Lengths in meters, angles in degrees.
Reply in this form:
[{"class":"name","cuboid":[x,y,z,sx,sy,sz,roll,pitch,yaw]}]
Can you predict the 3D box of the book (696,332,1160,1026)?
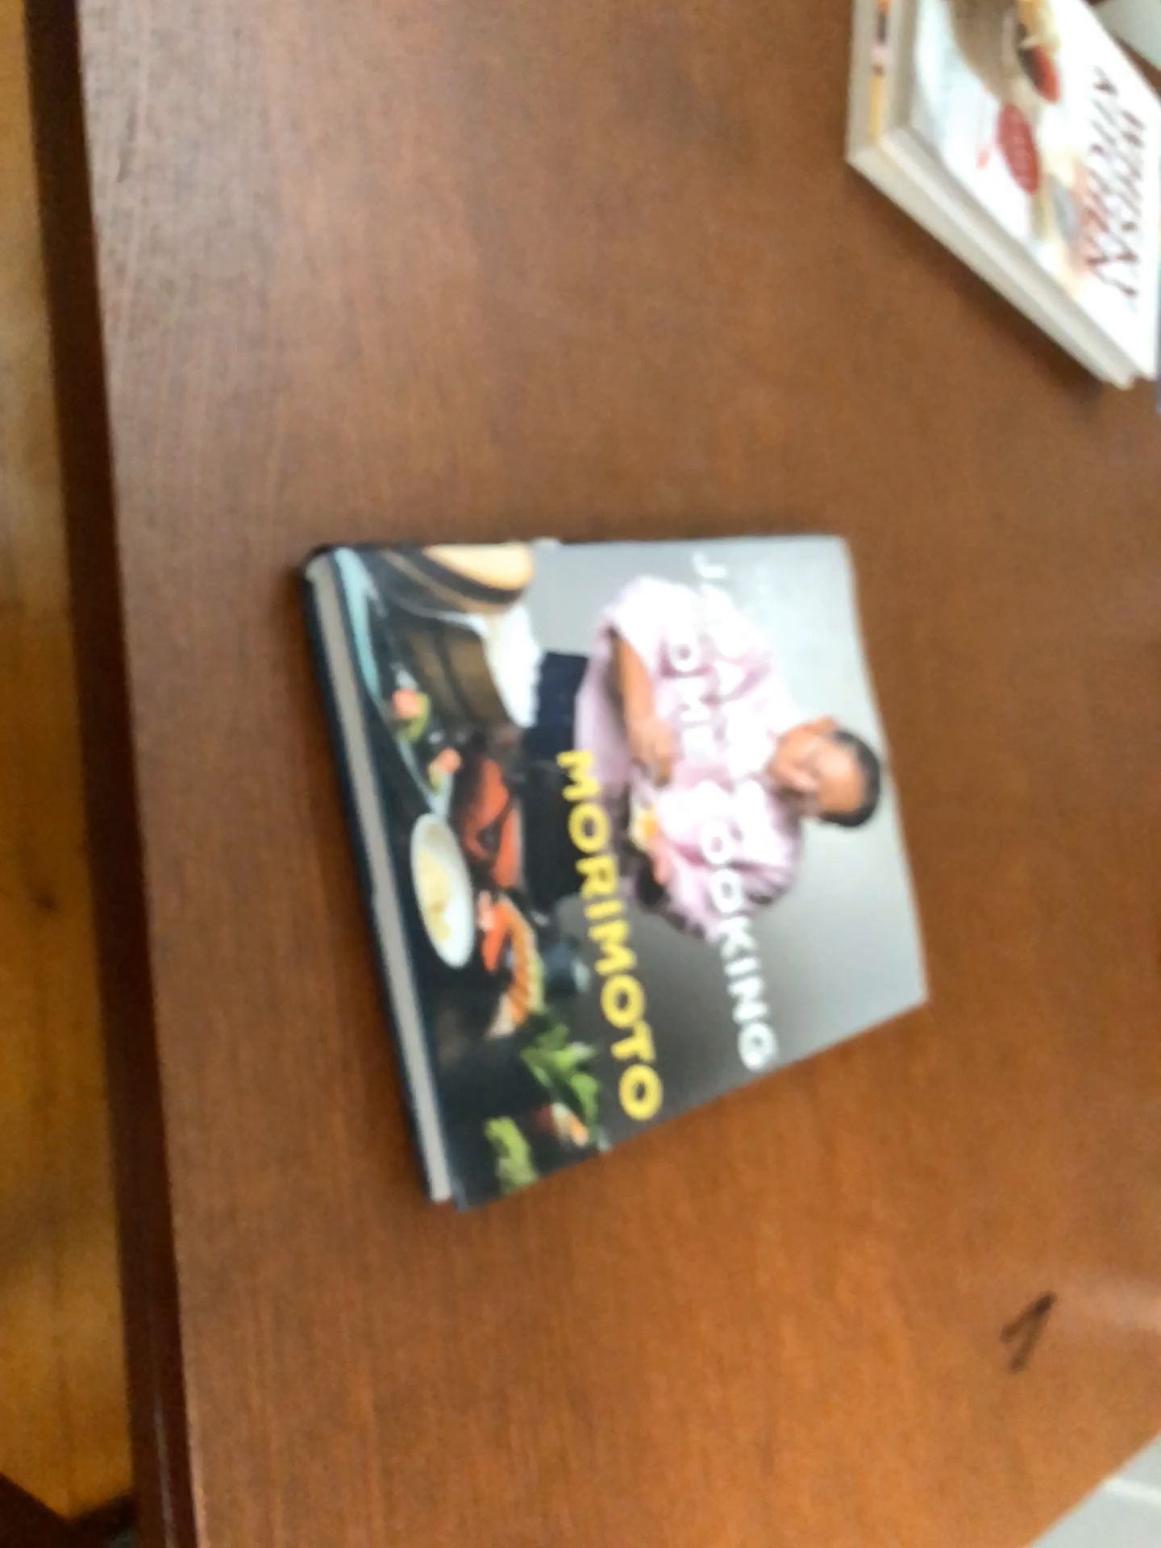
[{"class":"book","cuboid":[0.171,-0.020,0.562,0.301,0.030,0.220,18,71,-39]}]
